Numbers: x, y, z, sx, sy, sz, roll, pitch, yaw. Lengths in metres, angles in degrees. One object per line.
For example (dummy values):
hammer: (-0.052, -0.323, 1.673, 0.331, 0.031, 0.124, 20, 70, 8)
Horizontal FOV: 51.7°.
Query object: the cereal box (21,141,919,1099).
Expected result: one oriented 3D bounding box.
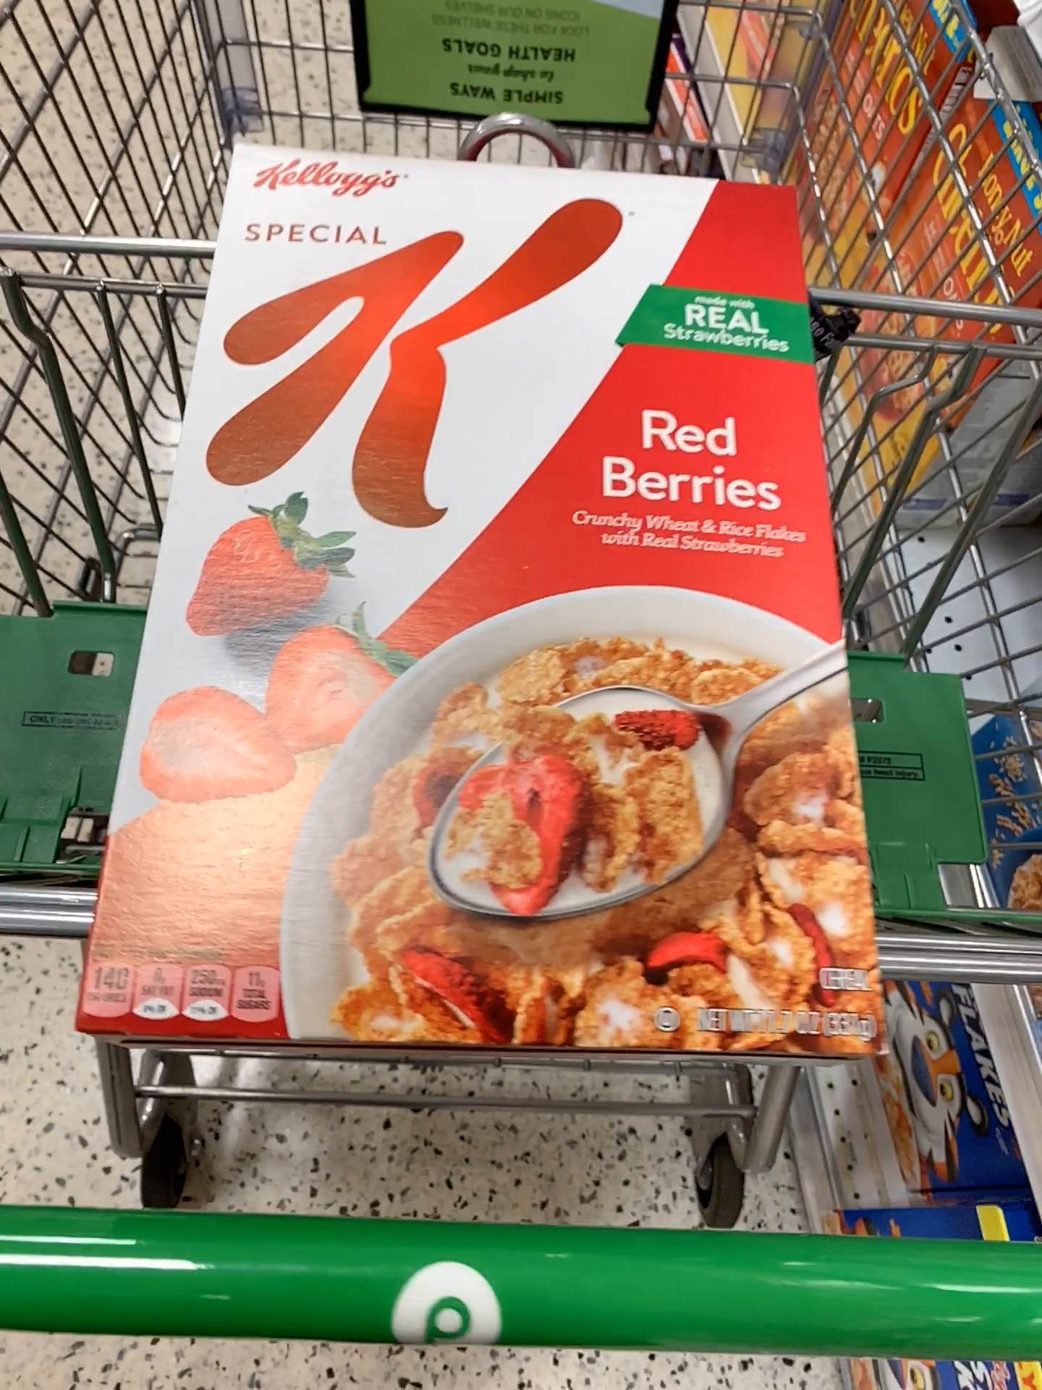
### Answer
cereal box: (-0.007, -0.034, 0.319, 0.200, 0.050, 0.282, 3, 66, -4)
